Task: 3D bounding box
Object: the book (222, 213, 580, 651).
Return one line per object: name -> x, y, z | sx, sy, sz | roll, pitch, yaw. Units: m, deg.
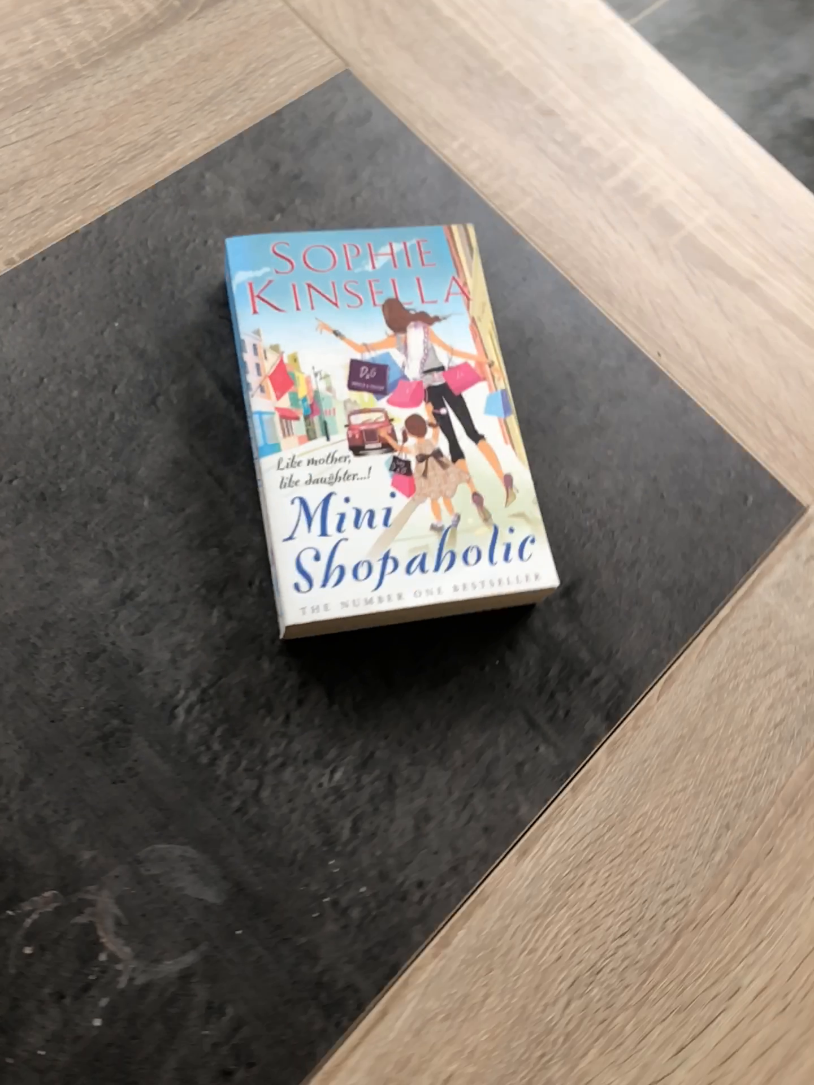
book -> -0.009, -0.059, 0.429 | 0.132, 0.036, 0.200 | -7, 72, -12
